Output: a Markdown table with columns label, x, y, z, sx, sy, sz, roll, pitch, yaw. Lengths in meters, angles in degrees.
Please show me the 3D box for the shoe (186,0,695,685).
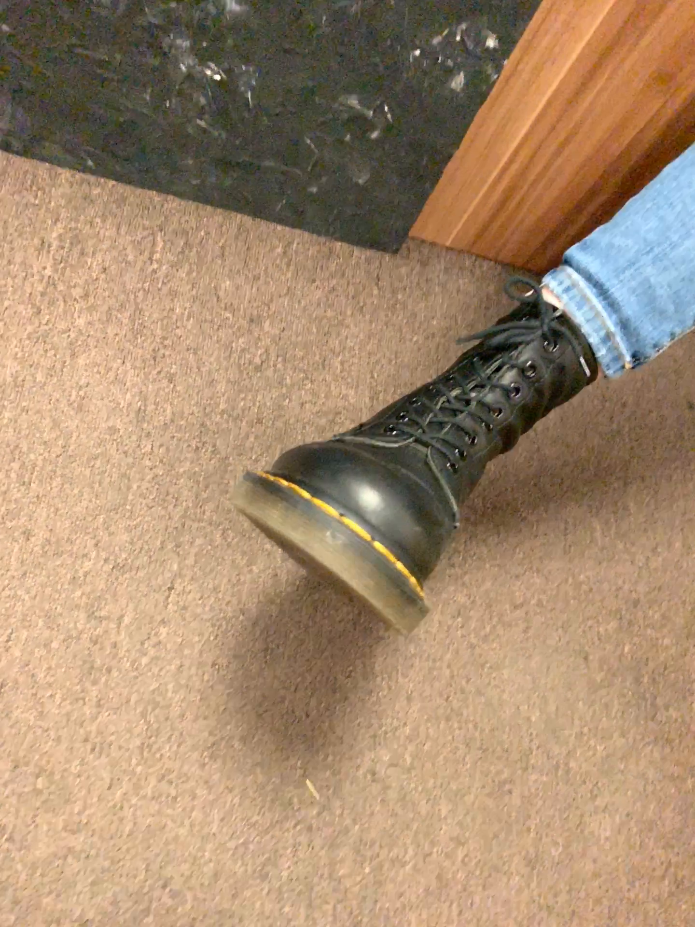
| label | x | y | z | sx | sy | sz | roll | pitch | yaw |
| --- | --- | --- | --- | --- | --- | --- | --- | --- | --- |
| shoe | 0.068 | -0.048 | 0.445 | 0.120 | 0.370 | 0.230 | 43 | 92 | 0 |
